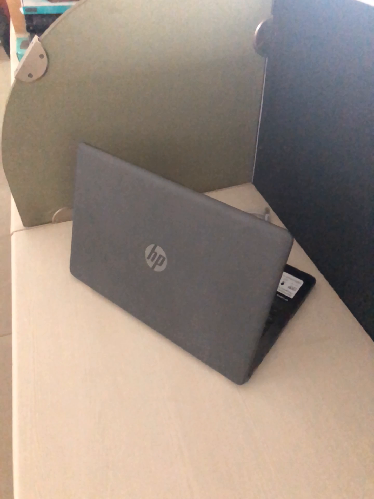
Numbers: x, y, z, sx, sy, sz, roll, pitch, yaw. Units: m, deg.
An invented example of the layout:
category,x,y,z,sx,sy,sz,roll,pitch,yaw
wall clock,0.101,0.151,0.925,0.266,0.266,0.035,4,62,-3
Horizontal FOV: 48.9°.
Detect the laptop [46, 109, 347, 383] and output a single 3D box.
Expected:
category,x,y,z,sx,sy,sz,roll,pitch,yaw
laptop,0.007,-0.033,0.657,0.360,0.215,0.239,28,51,29
